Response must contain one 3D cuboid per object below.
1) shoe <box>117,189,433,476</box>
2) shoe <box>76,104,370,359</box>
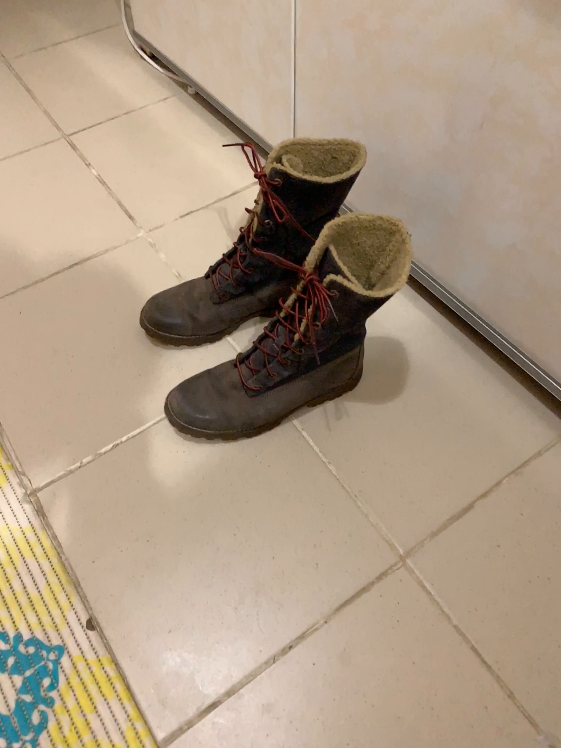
[{"bbox_3d":[0.003,-0.033,0.640,0.280,0.249,0.100,-20,56,-9],"label":"shoe"},{"bbox_3d":[-0.061,-0.156,0.687,0.280,0.249,0.100,-15,63,-9],"label":"shoe"}]
